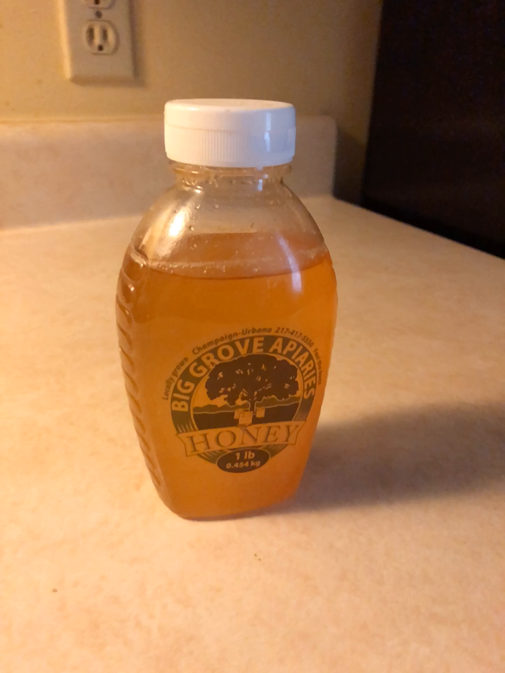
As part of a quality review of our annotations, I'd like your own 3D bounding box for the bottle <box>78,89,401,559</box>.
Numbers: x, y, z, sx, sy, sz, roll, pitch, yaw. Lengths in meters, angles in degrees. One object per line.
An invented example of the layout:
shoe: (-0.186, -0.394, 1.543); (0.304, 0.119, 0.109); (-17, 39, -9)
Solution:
bottle: (-0.009, -0.007, 0.194); (0.080, 0.140, 0.060); (-7, 26, -17)
